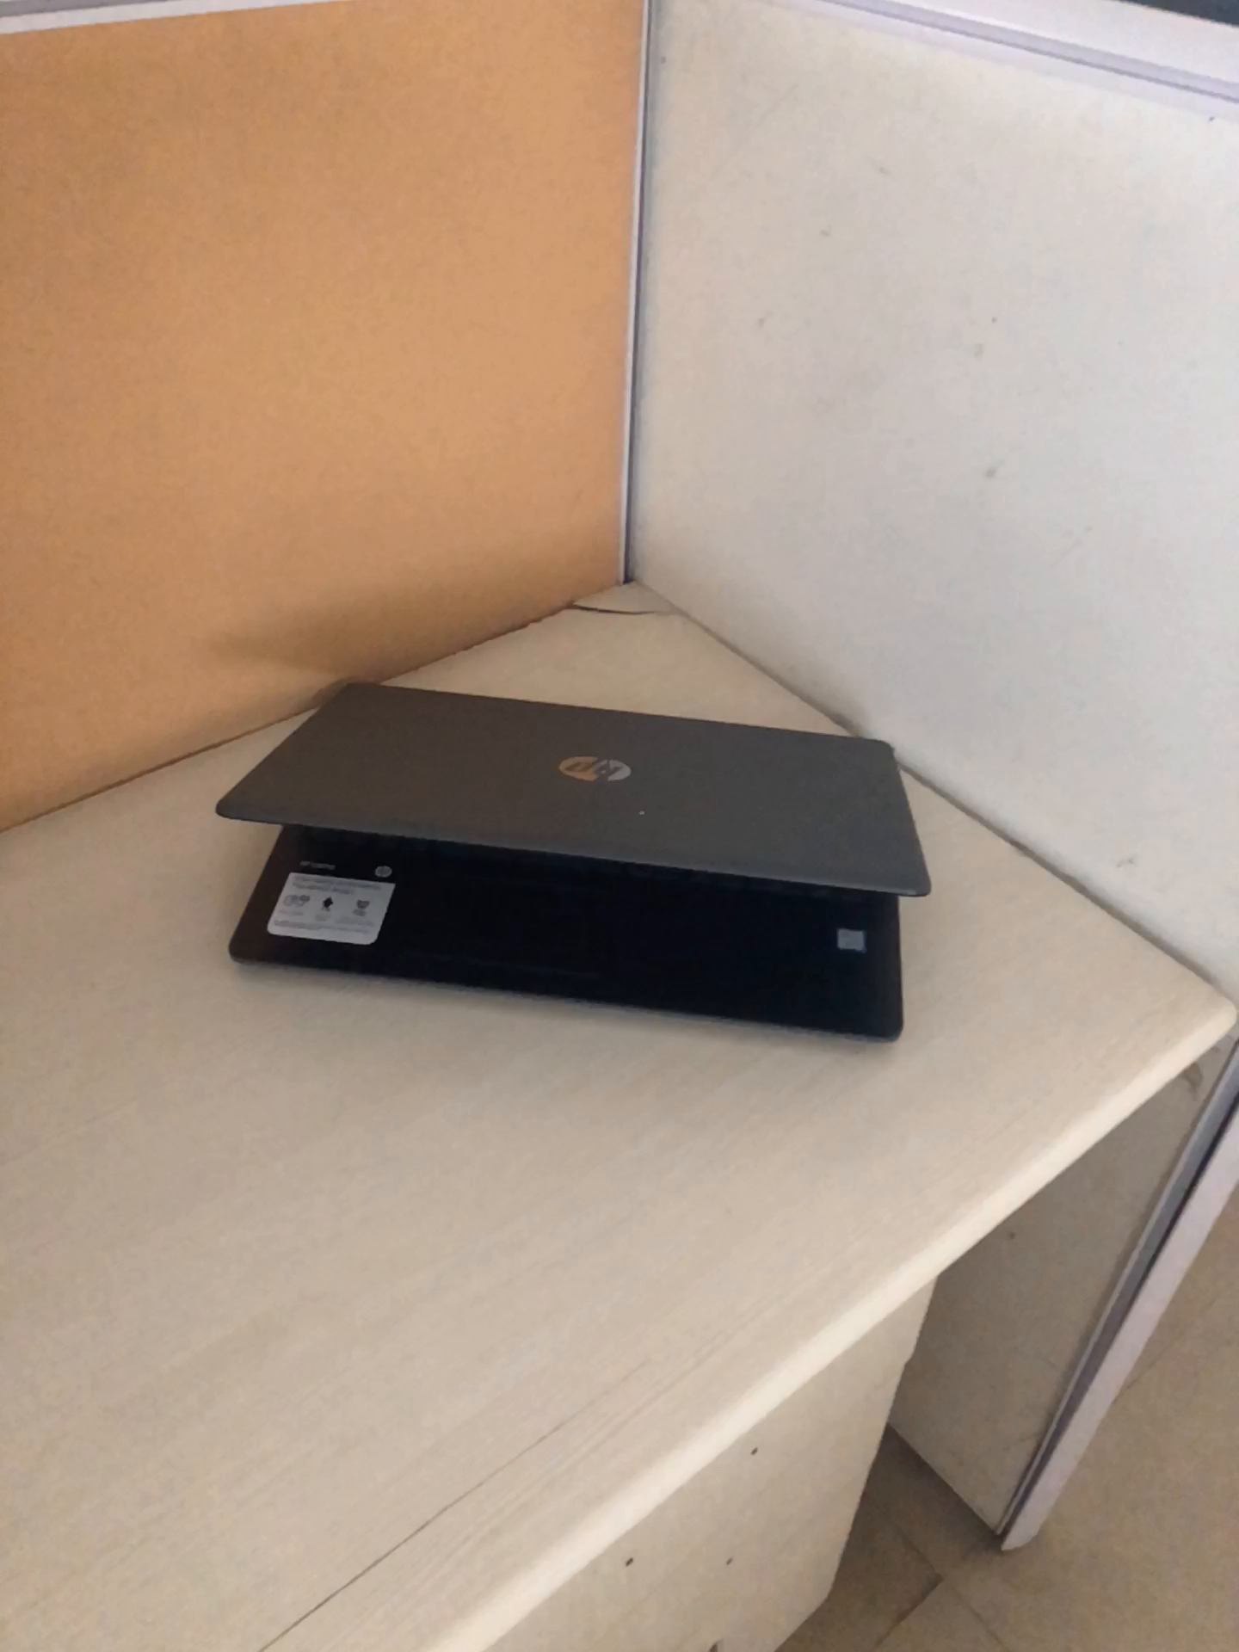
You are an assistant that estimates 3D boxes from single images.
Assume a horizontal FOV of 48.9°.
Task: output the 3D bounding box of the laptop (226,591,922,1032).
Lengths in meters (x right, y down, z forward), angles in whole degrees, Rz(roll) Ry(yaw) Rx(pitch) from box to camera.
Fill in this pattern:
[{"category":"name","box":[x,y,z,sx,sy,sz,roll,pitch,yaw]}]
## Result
[{"category":"laptop","box":[-0.015,-0.021,0.809,0.361,0.074,0.239,6,44,4]}]
